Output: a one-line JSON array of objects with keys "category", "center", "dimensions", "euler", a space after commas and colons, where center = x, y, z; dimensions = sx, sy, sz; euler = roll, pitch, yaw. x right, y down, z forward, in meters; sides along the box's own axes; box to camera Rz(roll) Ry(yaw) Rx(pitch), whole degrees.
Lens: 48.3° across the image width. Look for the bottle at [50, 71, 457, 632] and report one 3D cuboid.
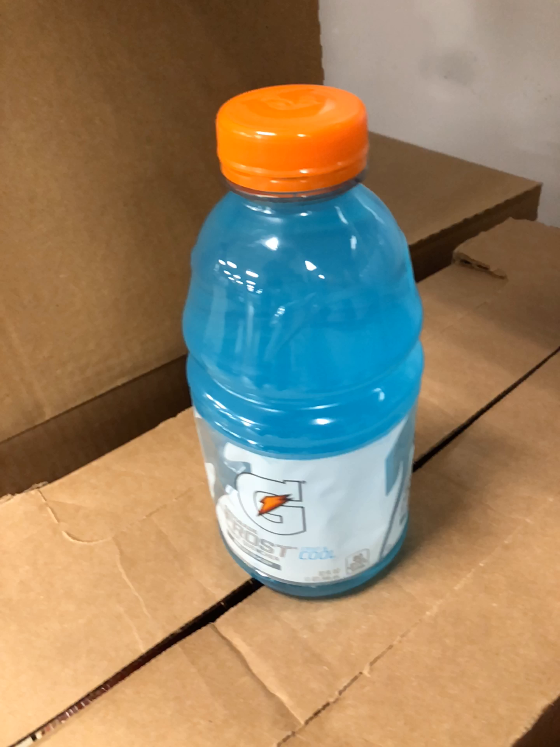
[{"category": "bottle", "center": [0.006, -0.003, 0.254], "dimensions": [0.100, 0.199, 0.090], "euler": [9, 40, 19]}]
